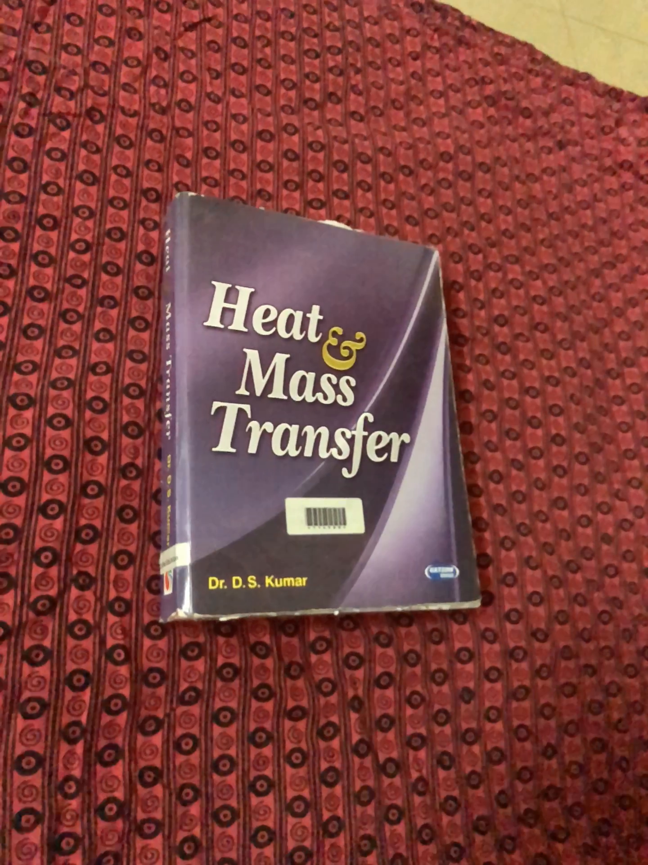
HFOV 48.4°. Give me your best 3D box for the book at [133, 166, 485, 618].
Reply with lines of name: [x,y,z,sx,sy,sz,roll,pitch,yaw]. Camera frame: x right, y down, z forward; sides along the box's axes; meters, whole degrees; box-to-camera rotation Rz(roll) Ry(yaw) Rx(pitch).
book: [-0.008,-0.017,0.378,0.171,0.040,0.211,4,73,-26]
